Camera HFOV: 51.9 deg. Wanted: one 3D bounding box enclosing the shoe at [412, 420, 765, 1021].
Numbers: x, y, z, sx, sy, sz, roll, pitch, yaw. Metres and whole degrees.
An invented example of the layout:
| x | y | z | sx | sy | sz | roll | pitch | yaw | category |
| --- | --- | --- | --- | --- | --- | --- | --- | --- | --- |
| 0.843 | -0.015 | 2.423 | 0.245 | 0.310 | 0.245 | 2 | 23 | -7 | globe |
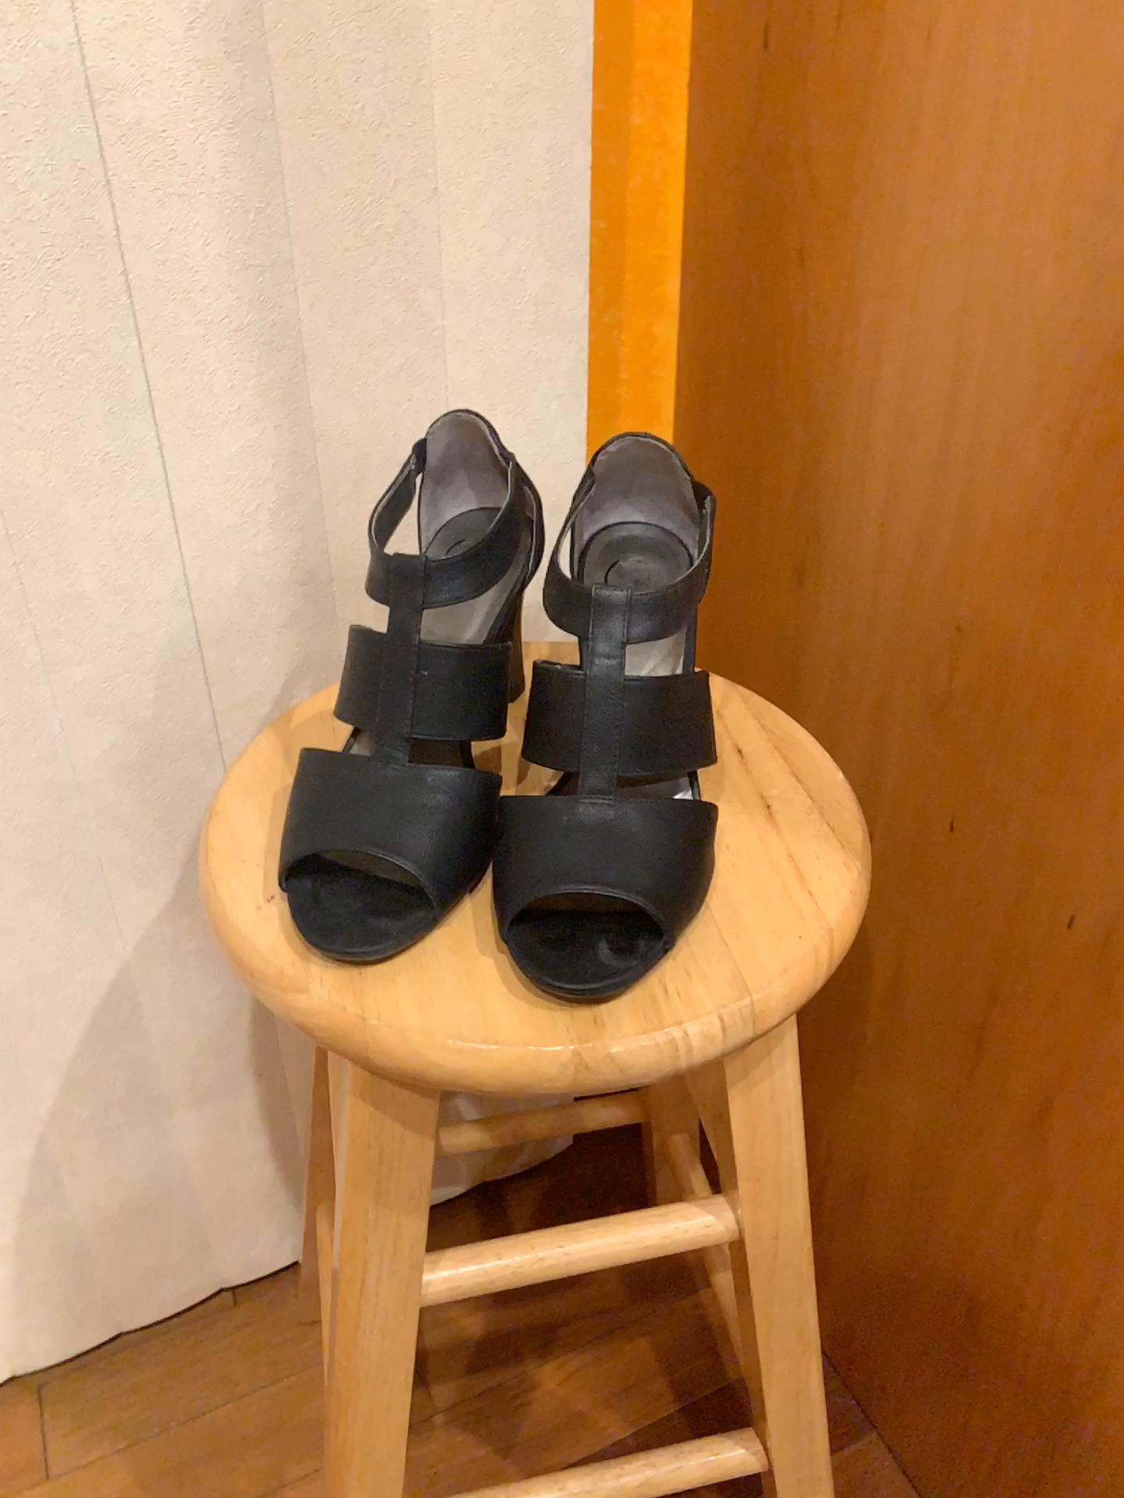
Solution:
| x | y | z | sx | sy | sz | roll | pitch | yaw | category |
| --- | --- | --- | --- | --- | --- | --- | --- | --- | --- |
| 0.023 | -0.029 | 0.468 | 0.100 | 0.130 | 0.235 | 5 | 35 | 8 | shoe |

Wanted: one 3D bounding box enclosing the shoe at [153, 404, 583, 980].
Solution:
| x | y | z | sx | sy | sz | roll | pitch | yaw | category |
| --- | --- | --- | --- | --- | --- | --- | --- | --- | --- |
| -0.059 | -0.042 | 0.485 | 0.090 | 0.125 | 0.245 | 7 | 35 | 9 | shoe |
